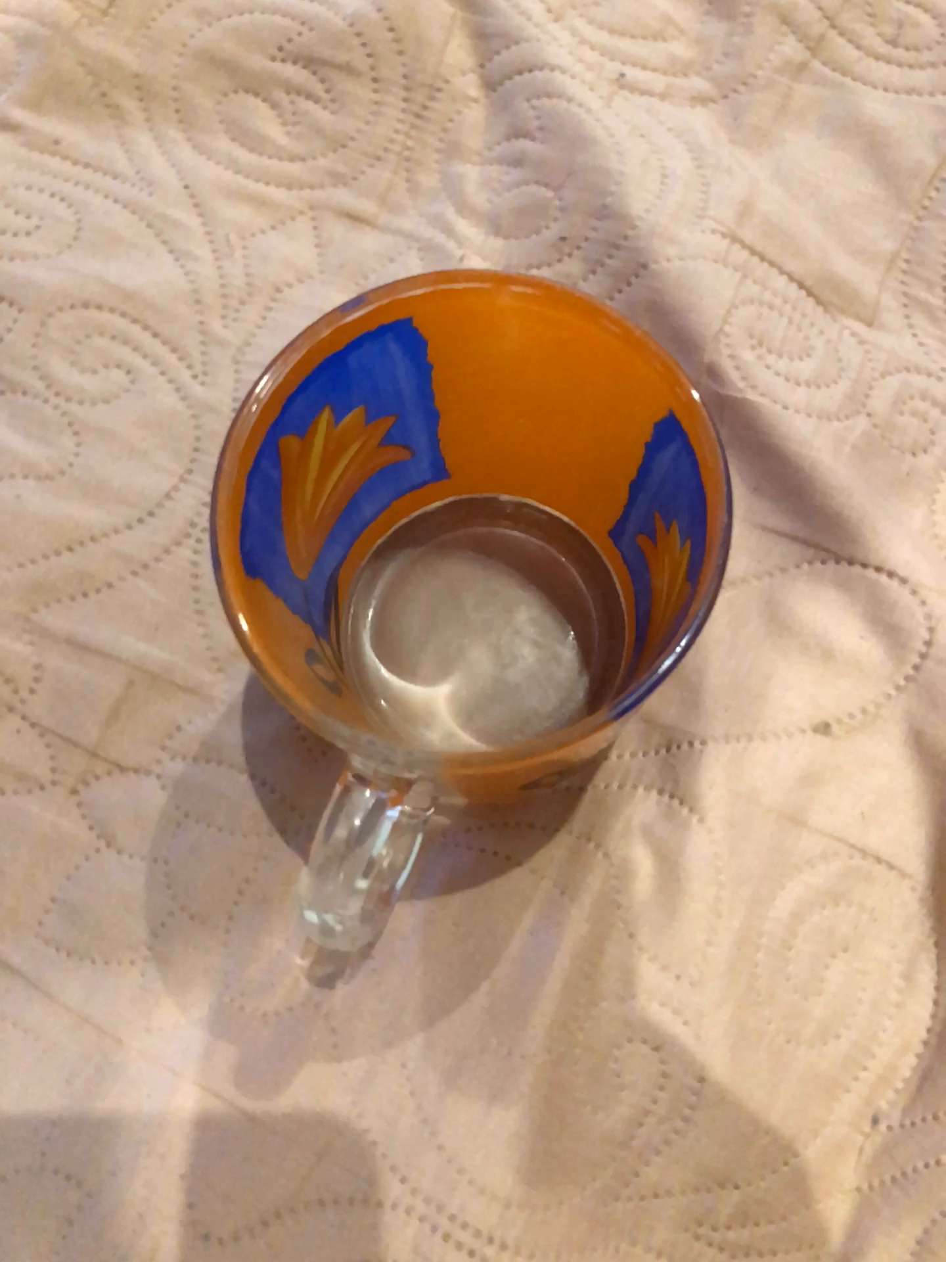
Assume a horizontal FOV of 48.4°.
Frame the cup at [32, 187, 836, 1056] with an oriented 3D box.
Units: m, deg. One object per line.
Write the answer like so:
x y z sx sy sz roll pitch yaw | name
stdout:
-0.001 0.003 0.198 0.080 0.090 0.110 22 76 8 | cup
